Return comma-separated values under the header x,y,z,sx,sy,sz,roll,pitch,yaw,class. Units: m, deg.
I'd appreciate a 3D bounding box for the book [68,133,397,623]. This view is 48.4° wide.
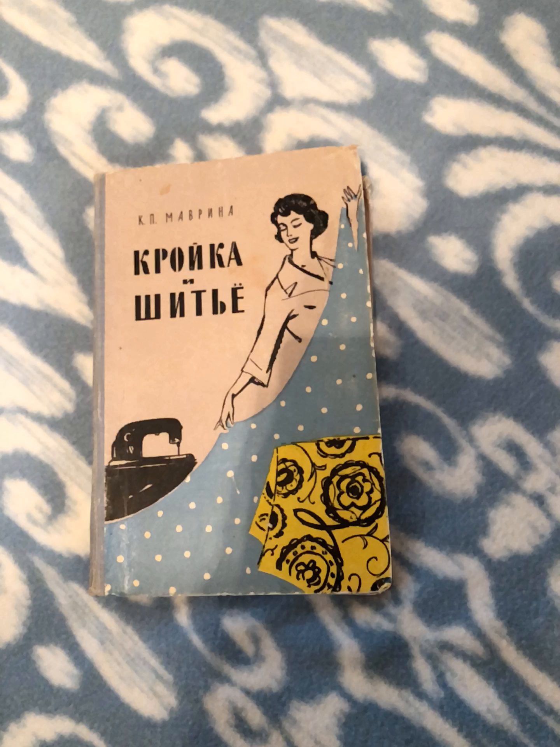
x,y,z,sx,sy,sz,roll,pitch,yaw,class
-0.024,0.001,0.319,0.151,0.037,0.231,-3,79,9,book
